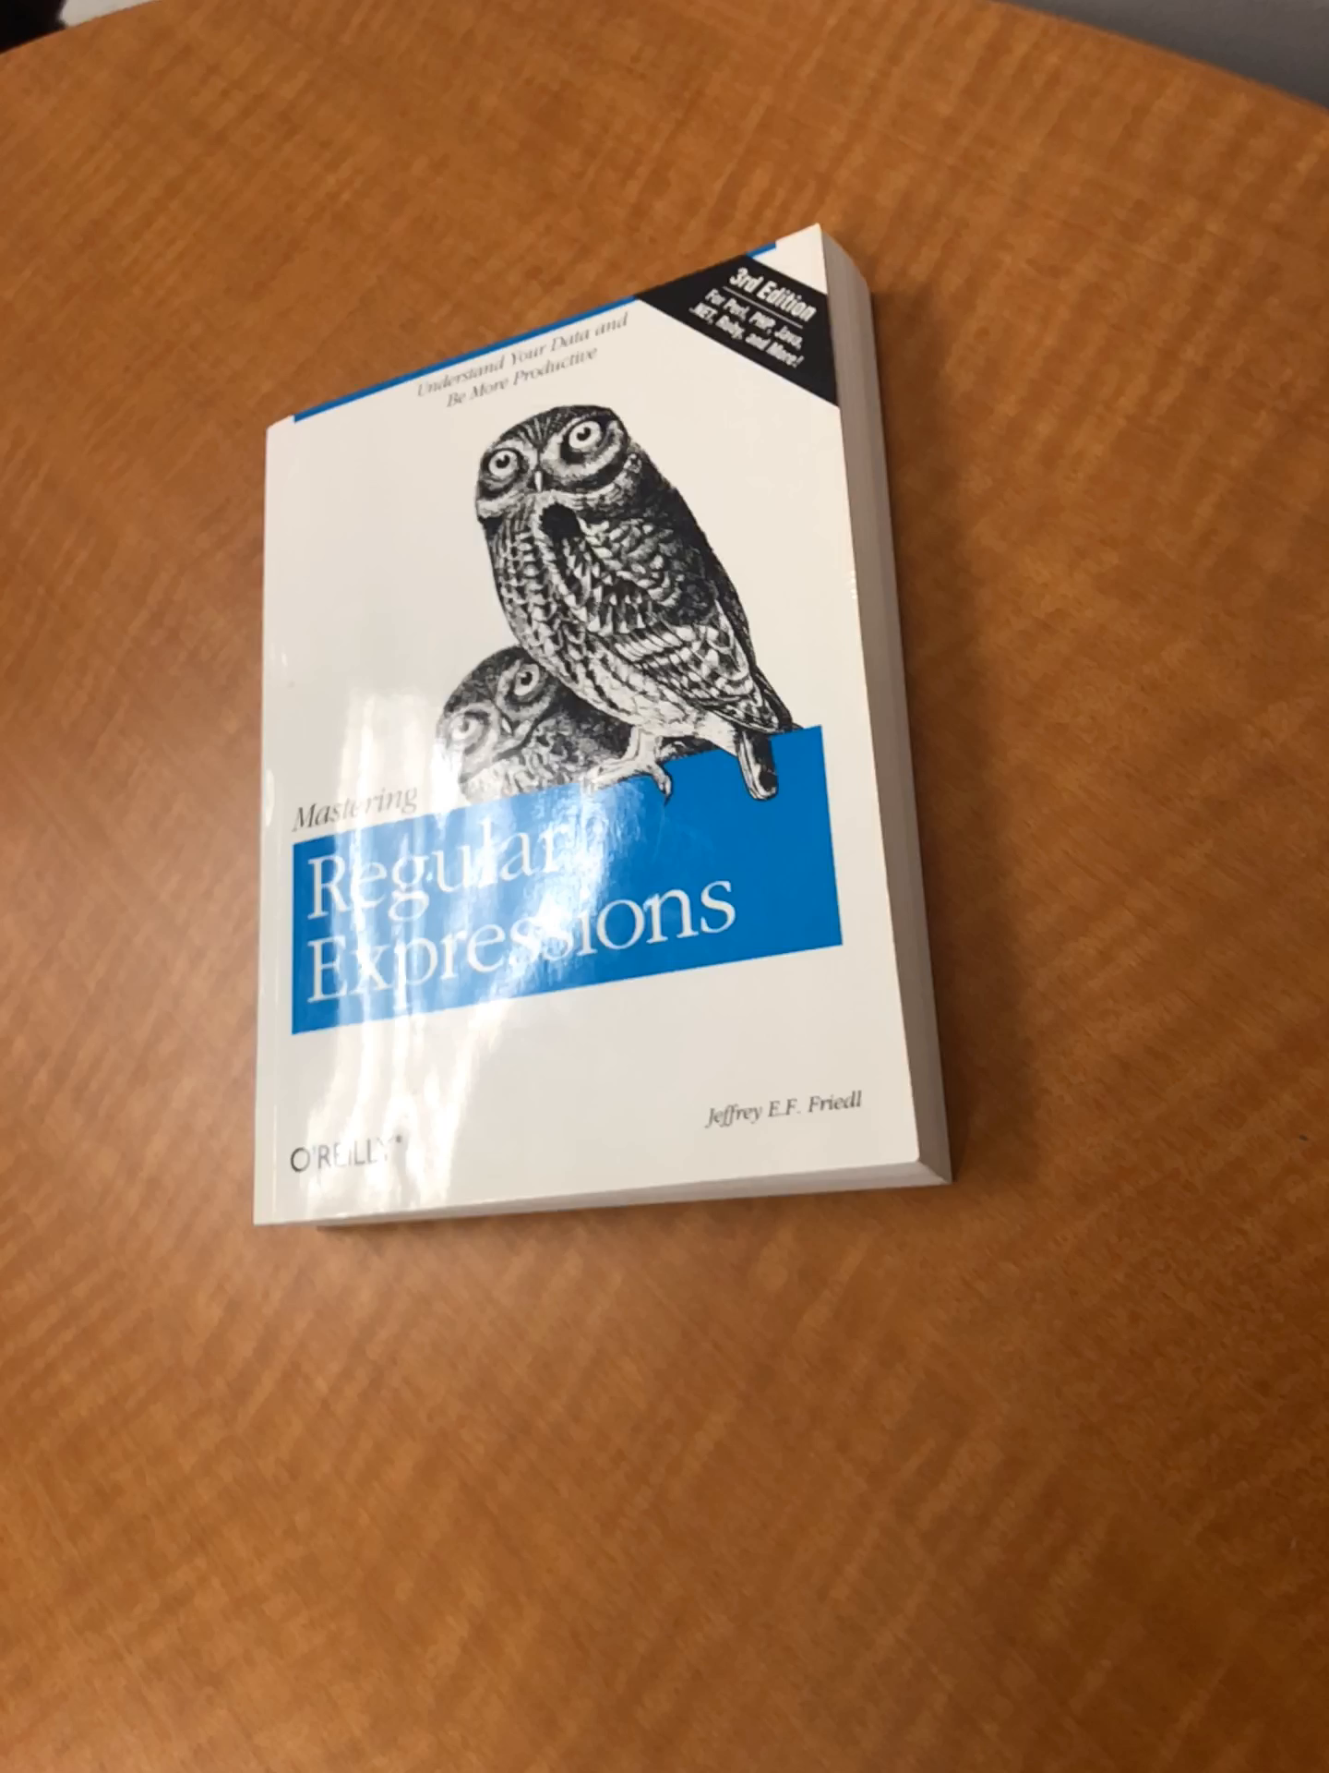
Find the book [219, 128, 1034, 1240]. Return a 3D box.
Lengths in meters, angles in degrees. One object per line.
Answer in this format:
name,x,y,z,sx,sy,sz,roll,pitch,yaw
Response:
book,-0.021,-0.046,0.391,0.200,0.040,0.260,-10,73,23
